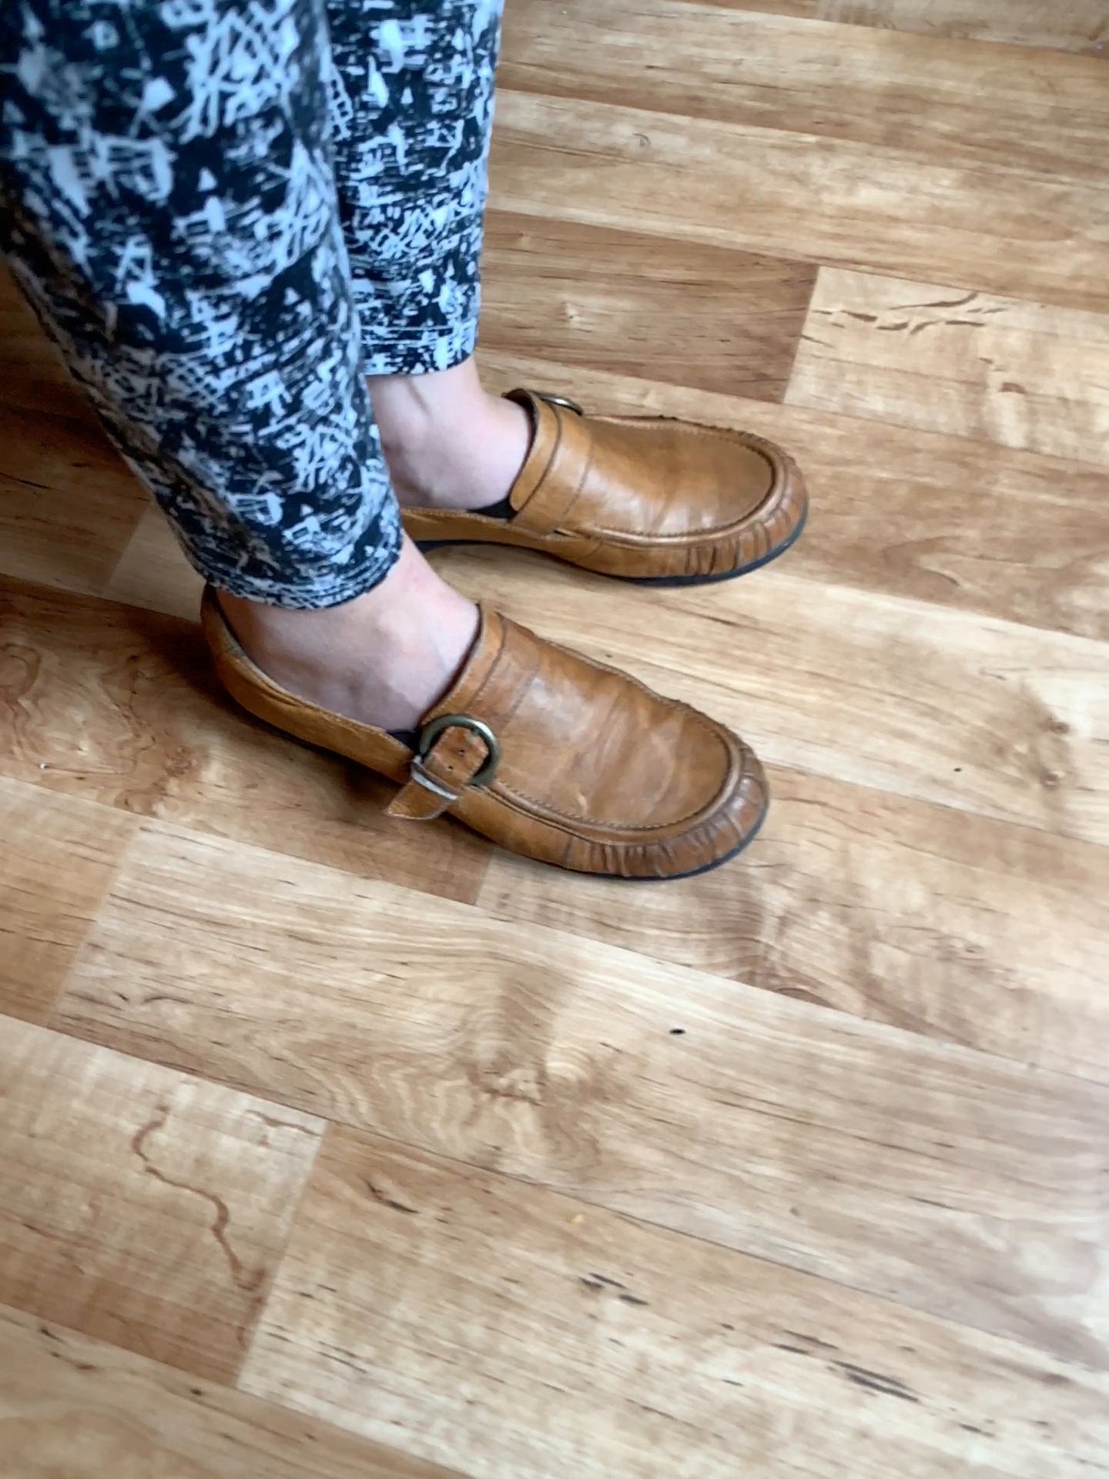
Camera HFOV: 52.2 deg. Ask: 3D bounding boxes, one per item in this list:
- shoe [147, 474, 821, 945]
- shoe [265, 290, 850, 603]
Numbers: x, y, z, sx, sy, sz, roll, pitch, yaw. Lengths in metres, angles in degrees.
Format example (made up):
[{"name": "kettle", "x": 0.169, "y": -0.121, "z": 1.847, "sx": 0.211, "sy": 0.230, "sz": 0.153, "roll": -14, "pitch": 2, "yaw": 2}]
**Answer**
[{"name": "shoe", "x": -0.021, "y": -0.010, "z": 0.377, "sx": 0.190, "sy": 0.070, "sz": 0.080, "roll": 18, "pitch": 68, "yaw": 11}, {"name": "shoe", "x": 0.002, "y": -0.105, "z": 0.415, "sx": 0.190, "sy": 0.070, "sz": 0.080, "roll": -1, "pitch": 65, "yaw": 3}]
